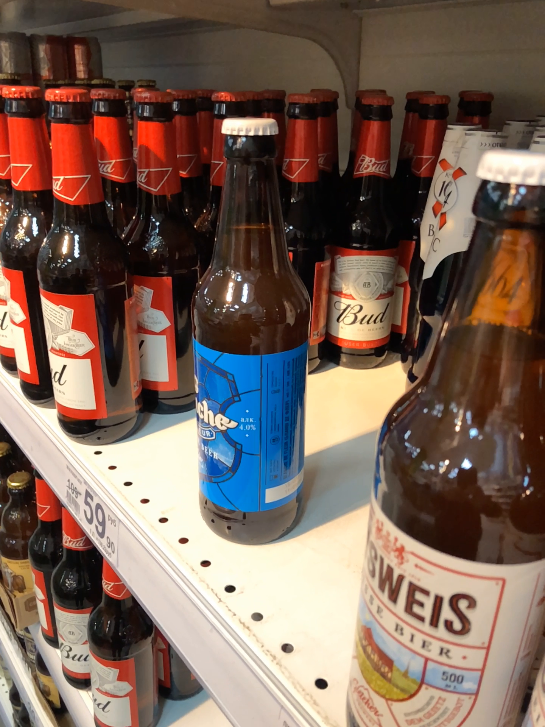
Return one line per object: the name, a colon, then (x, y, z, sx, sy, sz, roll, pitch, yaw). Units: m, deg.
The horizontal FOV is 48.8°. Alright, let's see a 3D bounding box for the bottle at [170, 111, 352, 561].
bottle: (-0.010, -0.014, 0.351, 0.069, 0.244, 0.070, 1, 23, 0)
